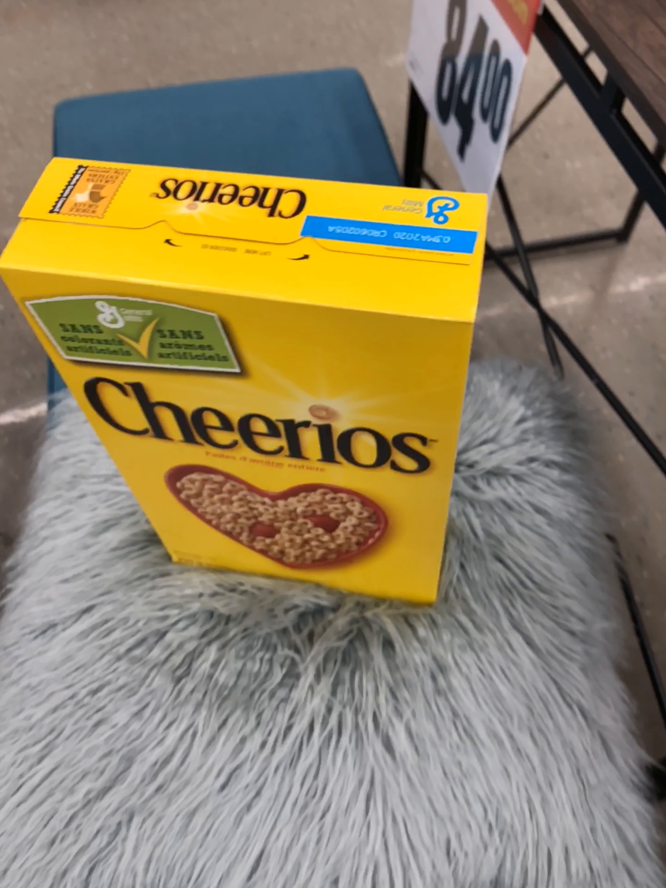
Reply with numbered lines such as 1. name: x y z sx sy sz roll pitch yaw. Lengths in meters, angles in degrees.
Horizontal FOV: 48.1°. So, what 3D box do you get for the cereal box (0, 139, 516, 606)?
1. cereal box: -0.031 -0.013 0.425 0.210 0.289 0.080 7 57 5
